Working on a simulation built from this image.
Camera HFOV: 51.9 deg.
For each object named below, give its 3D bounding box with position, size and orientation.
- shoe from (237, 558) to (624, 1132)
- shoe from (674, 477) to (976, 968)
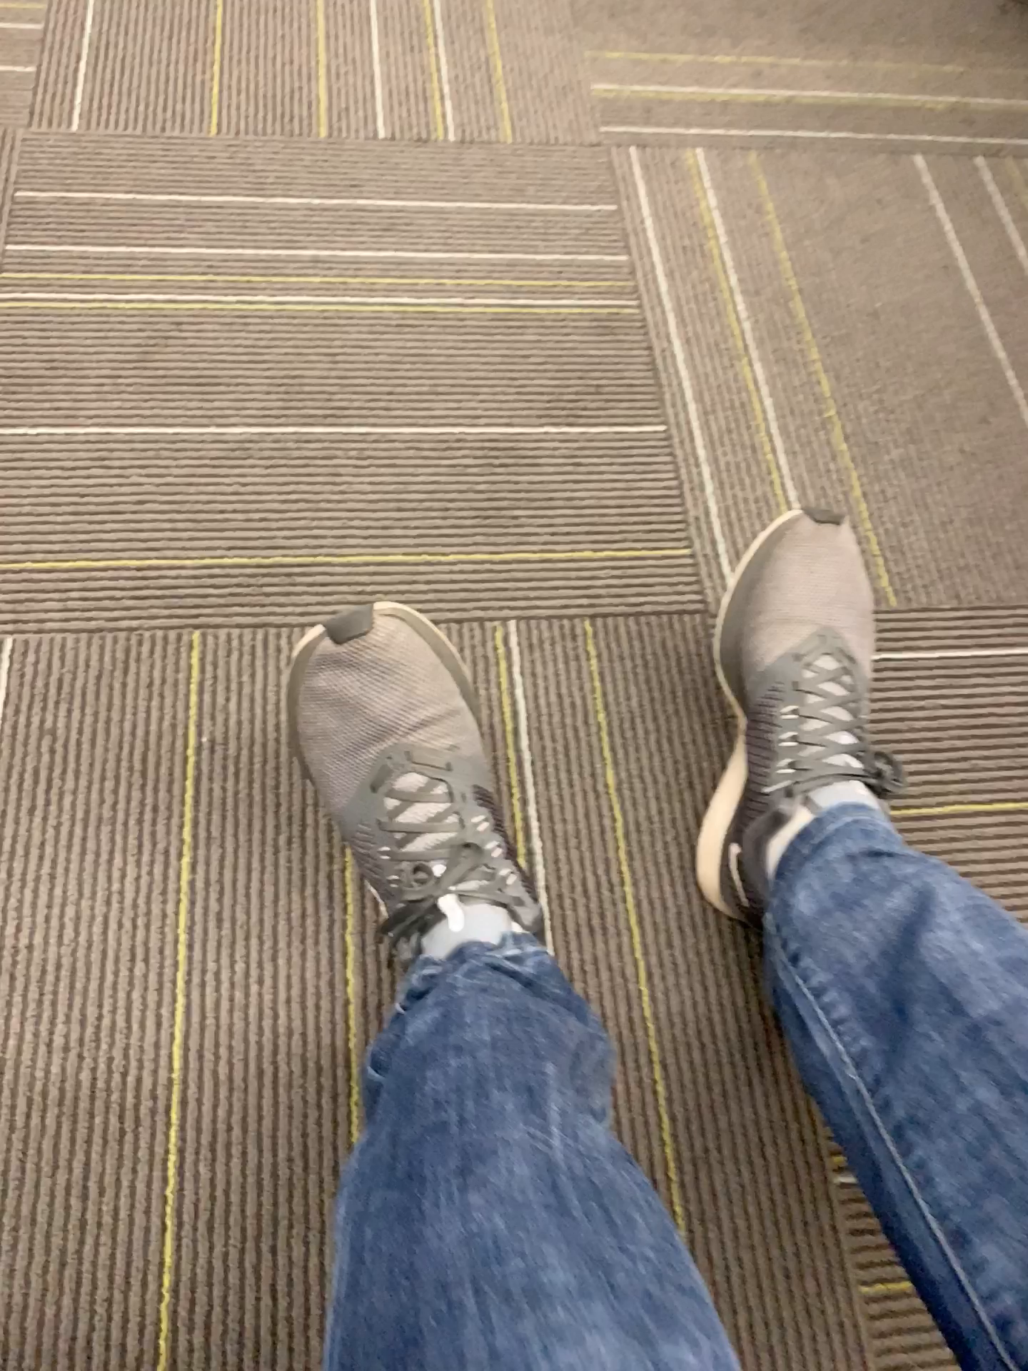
[{"bbox_3d":[-0.042,0.097,0.613,0.119,0.294,0.122,-22,32,-9],"label":"shoe"},{"bbox_3d":[0.194,0.019,0.693,0.119,0.122,0.294,2,99,-12],"label":"shoe"}]
